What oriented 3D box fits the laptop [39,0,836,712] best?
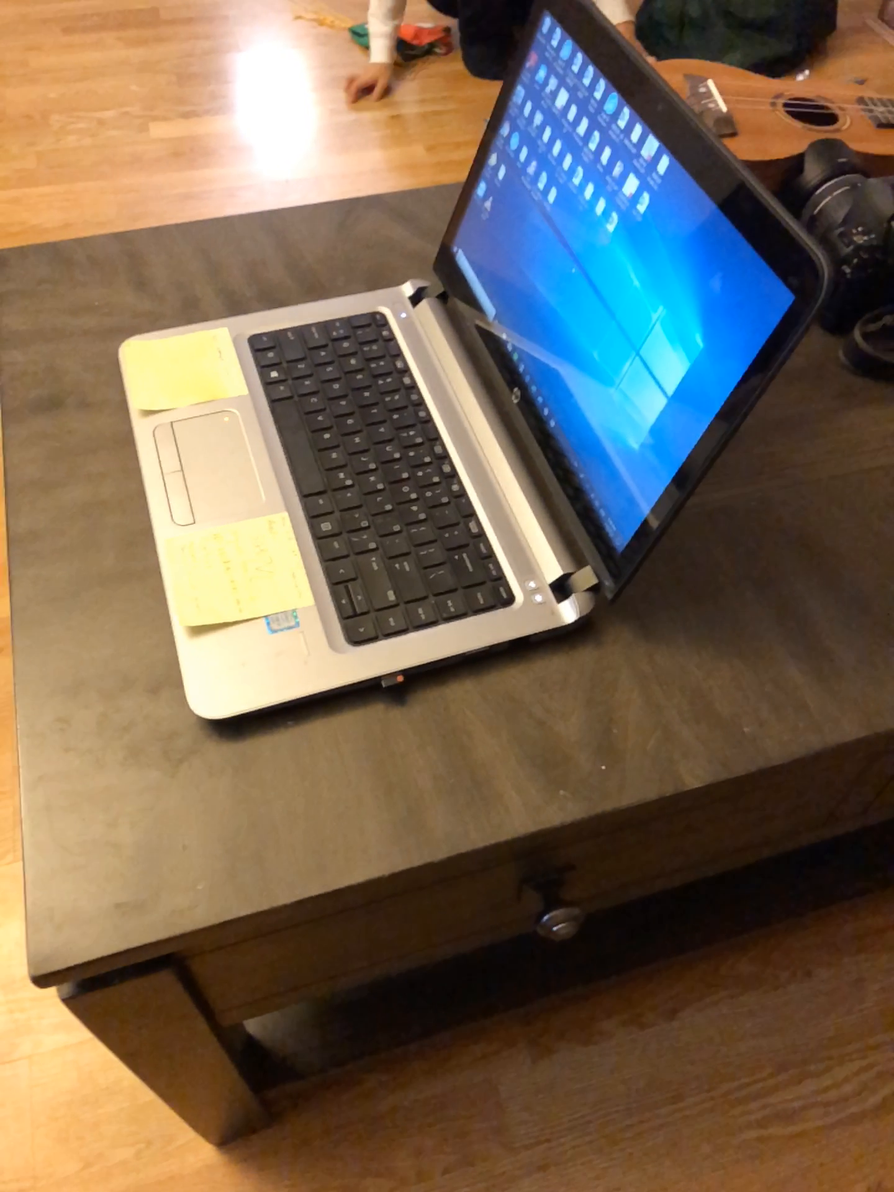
[{"bbox_3d":[-0.031,-0.157,0.565,0.313,0.203,0.317,-14,54,-12],"label":"laptop"}]
